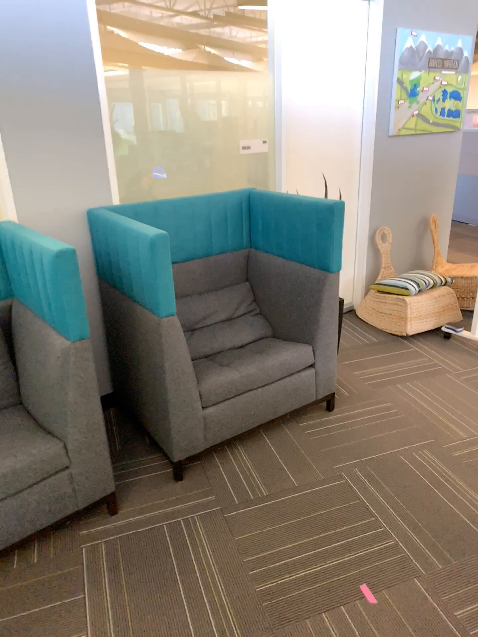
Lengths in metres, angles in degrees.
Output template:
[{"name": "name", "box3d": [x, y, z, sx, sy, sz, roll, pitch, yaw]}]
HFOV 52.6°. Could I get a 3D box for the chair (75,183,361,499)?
[{"name": "chair", "box3d": [-0.119, -0.024, 2.626, 1.050, 1.213, 1.016, -16, 25, -31]}]
